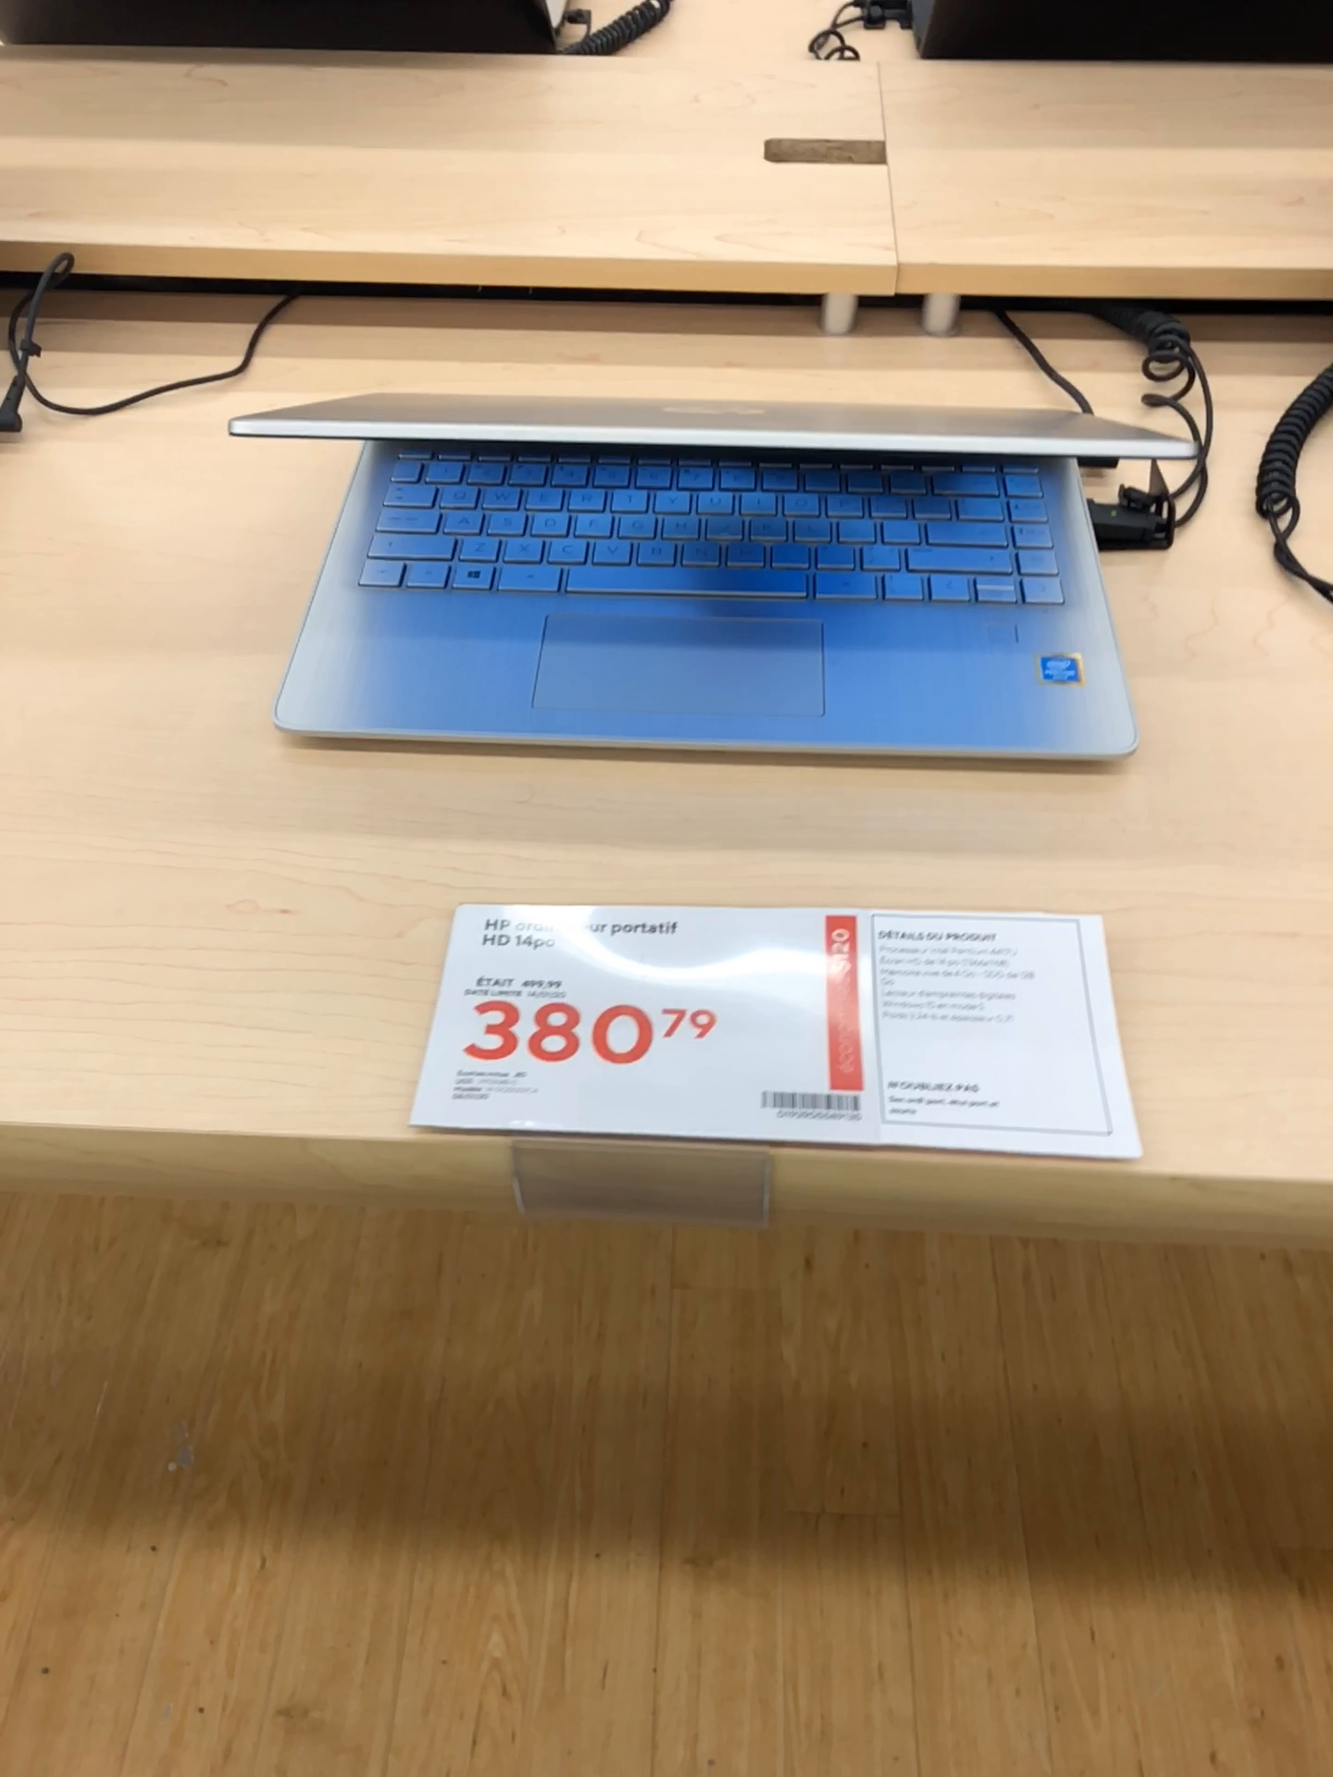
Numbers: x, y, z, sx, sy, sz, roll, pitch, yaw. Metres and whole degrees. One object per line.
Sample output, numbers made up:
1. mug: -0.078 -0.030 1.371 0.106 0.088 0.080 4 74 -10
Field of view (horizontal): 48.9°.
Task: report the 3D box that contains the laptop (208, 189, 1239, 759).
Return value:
1. laptop: 0.010 -0.170 0.561 0.318 0.104 0.217 3 47 8
